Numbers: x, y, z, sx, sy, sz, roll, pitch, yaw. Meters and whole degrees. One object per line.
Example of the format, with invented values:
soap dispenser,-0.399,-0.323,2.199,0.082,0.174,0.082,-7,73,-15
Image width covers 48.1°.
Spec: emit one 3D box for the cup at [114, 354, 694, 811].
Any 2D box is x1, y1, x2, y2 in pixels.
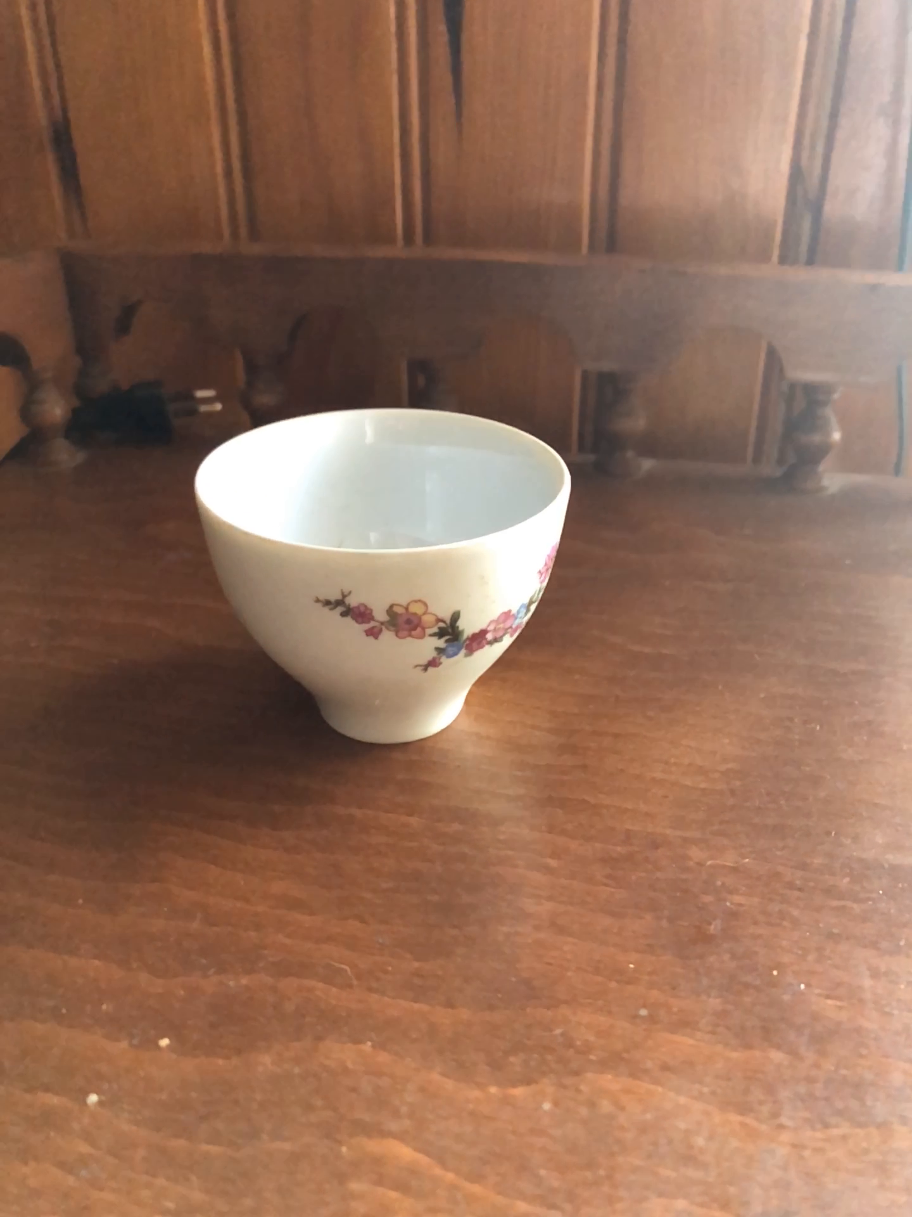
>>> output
cup,-0.010,-0.015,0.224,0.090,0.050,0.080,-24,37,-36
